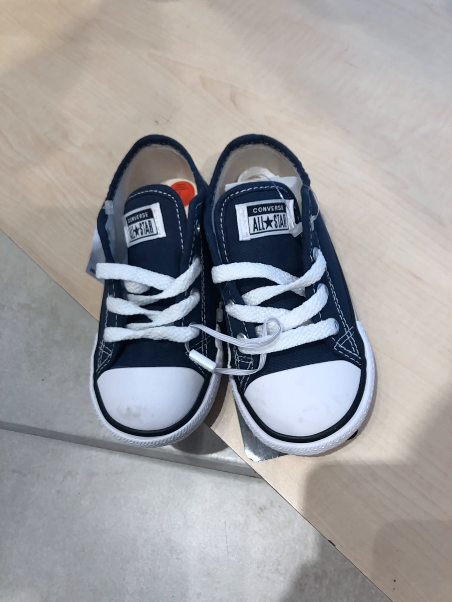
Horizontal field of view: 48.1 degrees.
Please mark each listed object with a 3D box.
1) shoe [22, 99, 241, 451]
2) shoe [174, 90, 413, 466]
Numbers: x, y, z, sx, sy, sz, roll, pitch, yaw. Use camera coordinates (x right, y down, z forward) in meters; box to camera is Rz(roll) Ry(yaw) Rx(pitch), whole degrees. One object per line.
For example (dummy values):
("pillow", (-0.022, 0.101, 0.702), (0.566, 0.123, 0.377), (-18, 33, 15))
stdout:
("shoe", (-0.039, -0.014, 0.265), (0.080, 0.060, 0.170), (-1, 70, 9))
("shoe", (0.027, -0.011, 0.257), (0.080, 0.060, 0.170), (-10, 69, 6))
